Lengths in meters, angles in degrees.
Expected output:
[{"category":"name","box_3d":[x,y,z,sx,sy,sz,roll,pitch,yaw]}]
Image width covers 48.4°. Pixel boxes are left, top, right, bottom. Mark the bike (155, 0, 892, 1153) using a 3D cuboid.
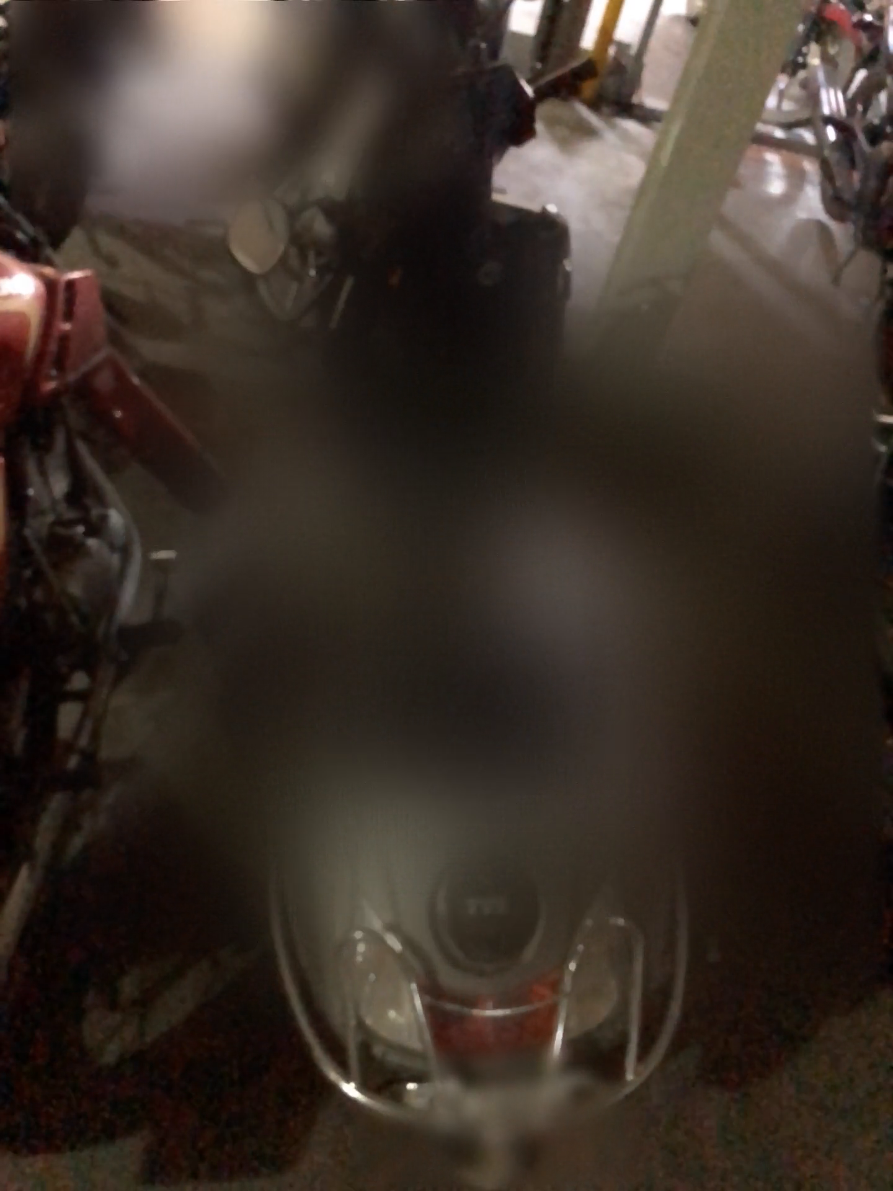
[{"category":"bike","box_3d":[-0.042,-0.064,1.538,0.602,1.095,1.387,6,46,-11]}]
